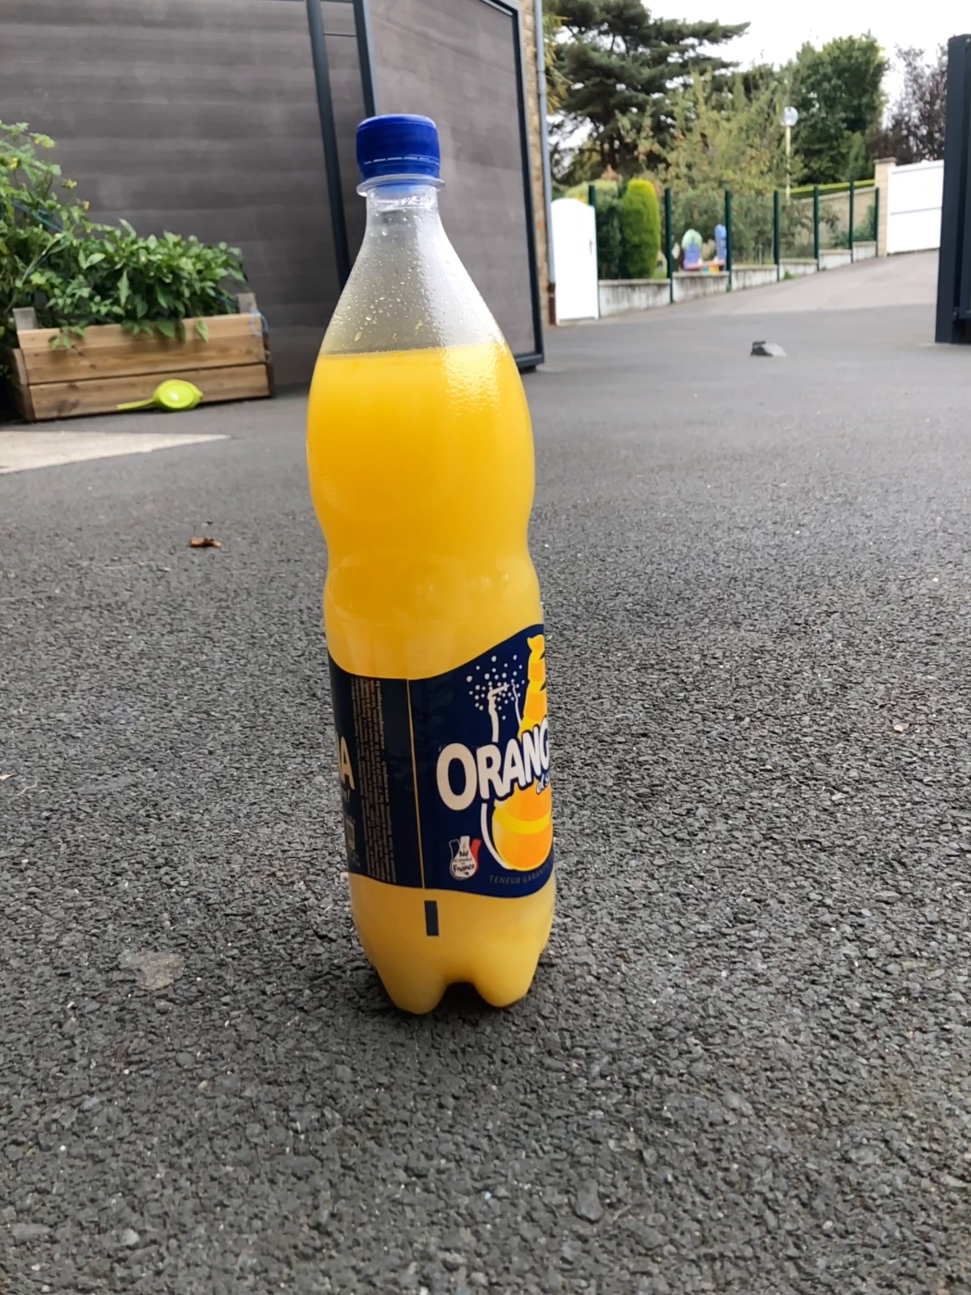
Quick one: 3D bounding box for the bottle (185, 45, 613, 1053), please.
[{"bbox_3d":[-0.018,-0.026,0.413,0.100,0.339,0.101,-5,16,1],"label":"bottle"}]
